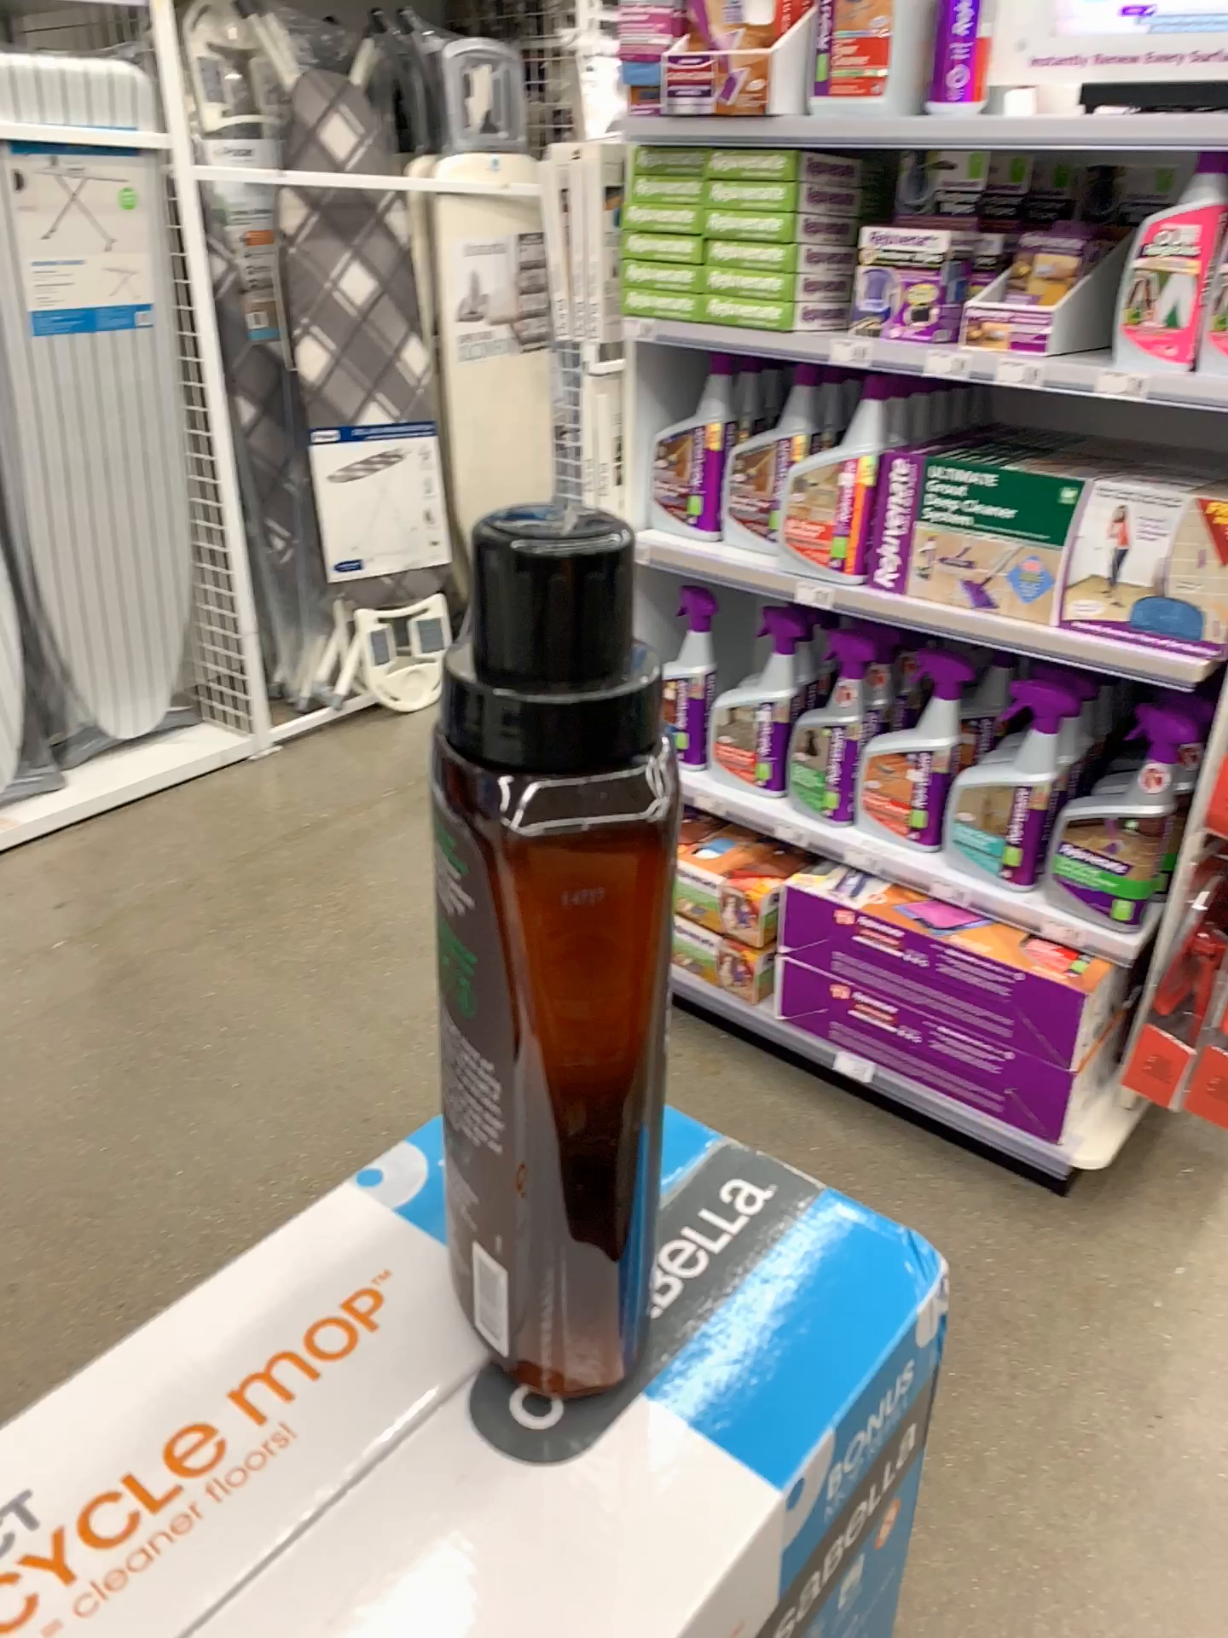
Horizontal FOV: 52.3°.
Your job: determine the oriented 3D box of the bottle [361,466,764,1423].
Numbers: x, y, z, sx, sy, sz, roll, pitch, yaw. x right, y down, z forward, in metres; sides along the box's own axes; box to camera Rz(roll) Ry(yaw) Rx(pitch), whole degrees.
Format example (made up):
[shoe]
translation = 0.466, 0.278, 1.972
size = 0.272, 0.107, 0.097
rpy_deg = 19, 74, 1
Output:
[bottle]
translation = -0.017, 0.031, 0.311
size = 0.070, 0.209, 0.101
rpy_deg = -5, 28, -10
